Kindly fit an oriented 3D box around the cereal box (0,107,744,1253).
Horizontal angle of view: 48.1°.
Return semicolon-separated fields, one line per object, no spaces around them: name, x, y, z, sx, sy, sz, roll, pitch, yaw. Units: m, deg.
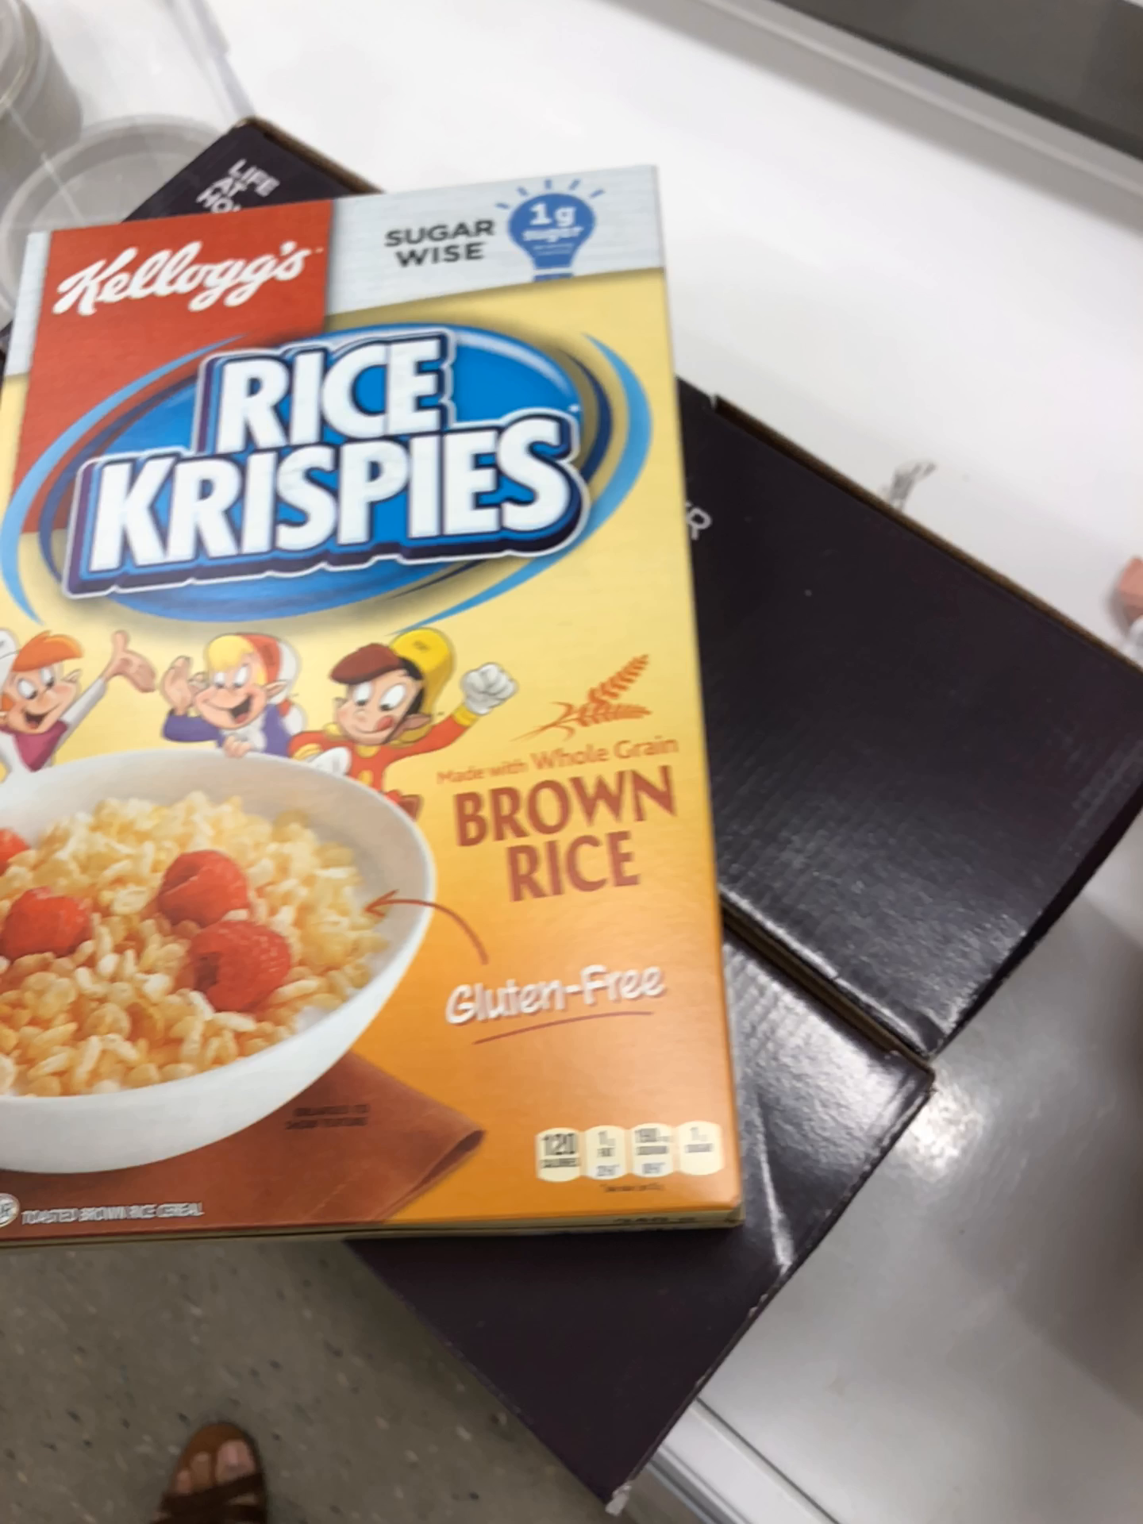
cereal box;-0.077;-0.039;0.378;0.220;0.070;0.330;-4;65;2
